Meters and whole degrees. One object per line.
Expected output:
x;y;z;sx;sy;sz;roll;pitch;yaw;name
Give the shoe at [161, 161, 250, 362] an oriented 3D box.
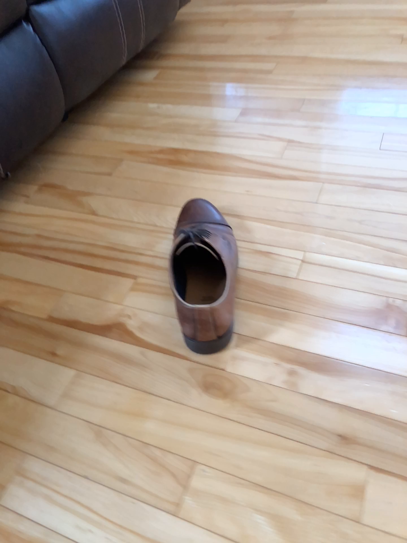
0.004;-0.030;0.671;0.100;0.100;0.311;-6;47;6;shoe
